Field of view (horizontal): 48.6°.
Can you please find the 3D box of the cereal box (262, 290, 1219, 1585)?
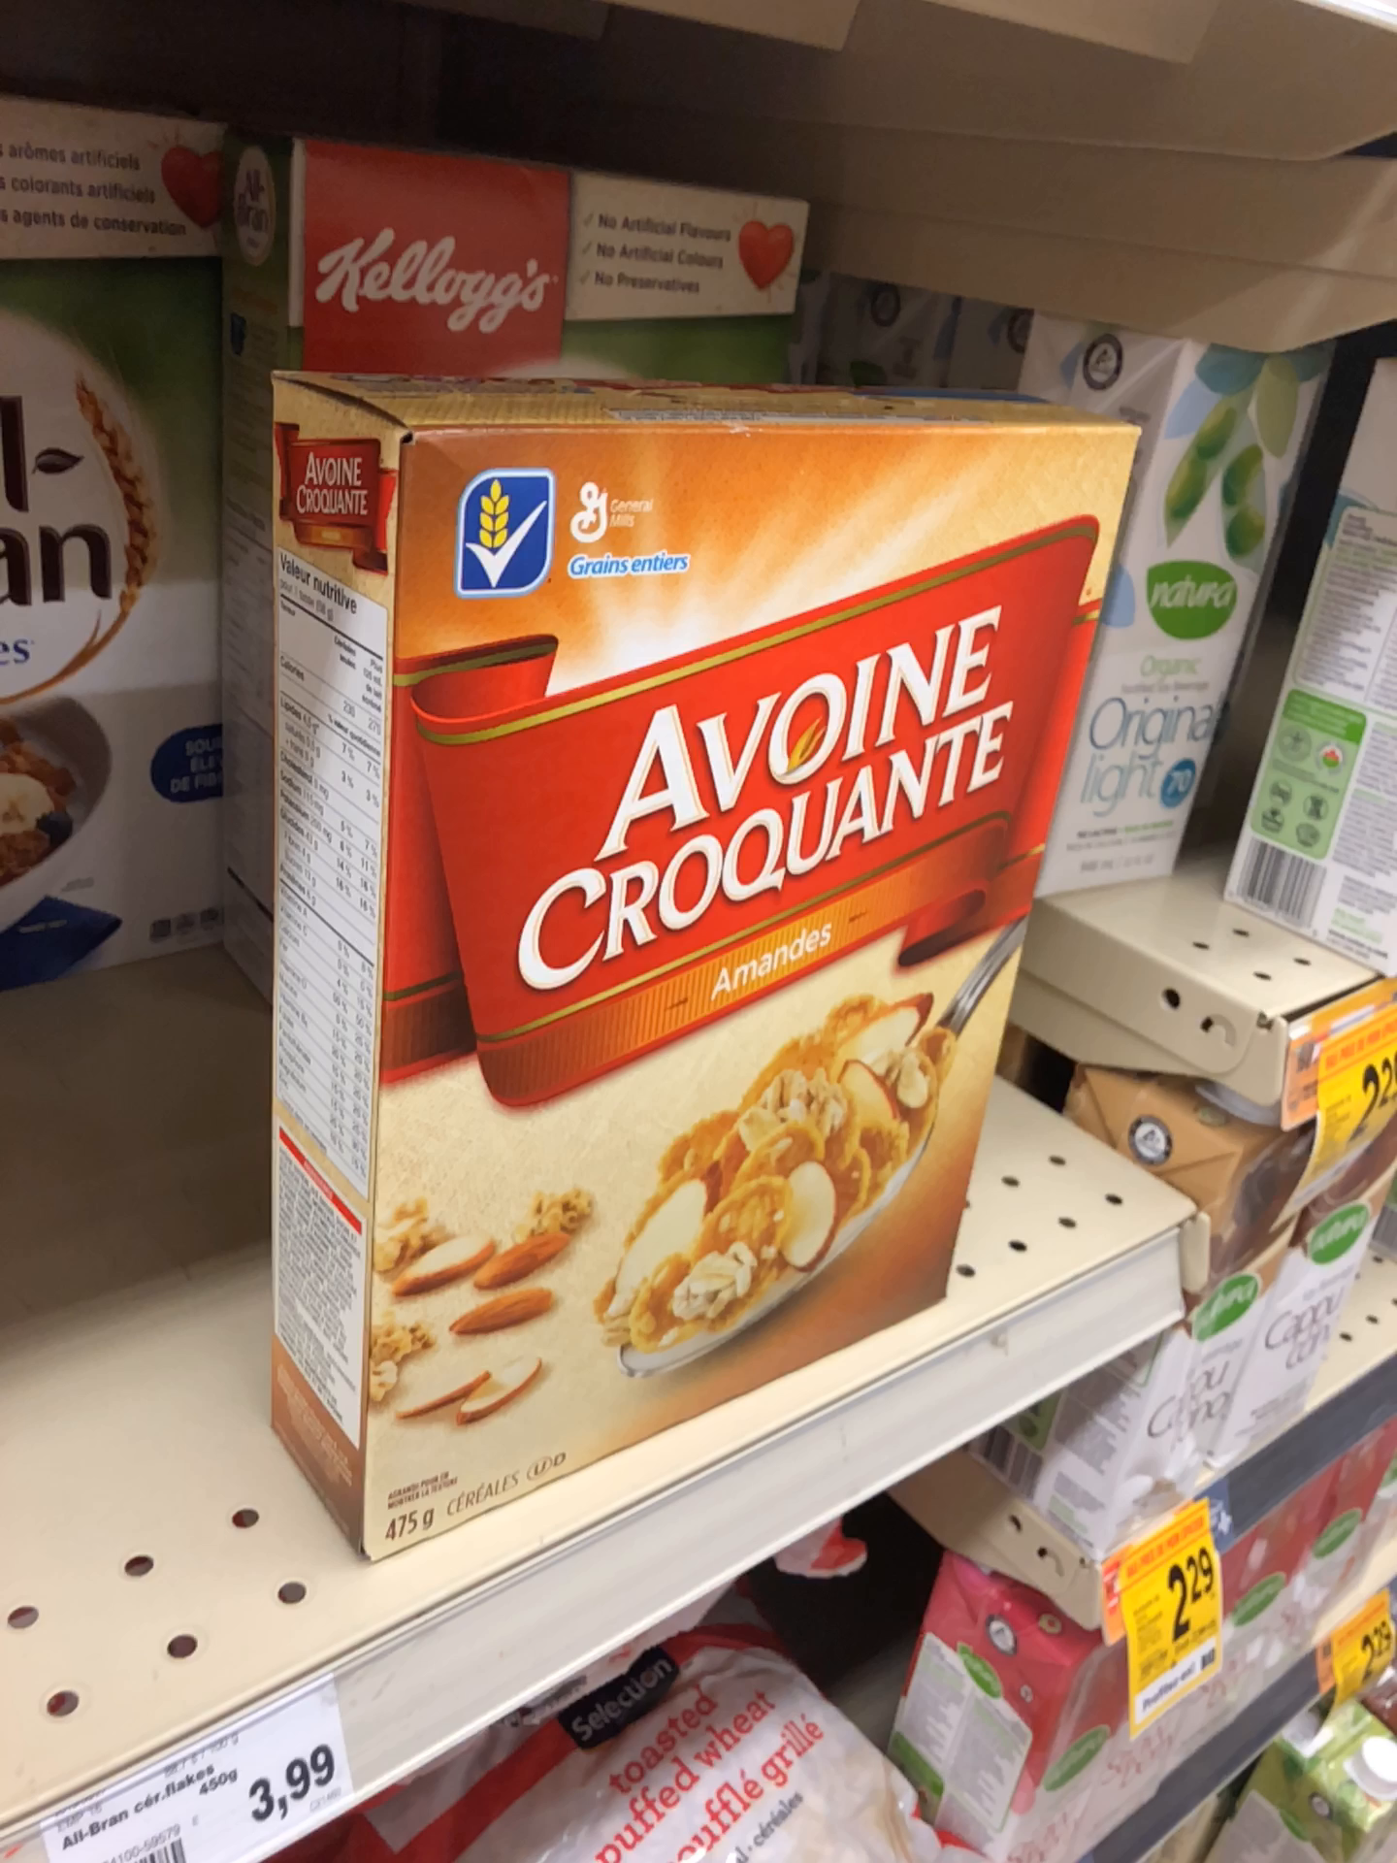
[{"bbox_3d":[0.004,-0.001,0.374,0.201,0.268,0.060,-13,33,-36],"label":"cereal box"}]
